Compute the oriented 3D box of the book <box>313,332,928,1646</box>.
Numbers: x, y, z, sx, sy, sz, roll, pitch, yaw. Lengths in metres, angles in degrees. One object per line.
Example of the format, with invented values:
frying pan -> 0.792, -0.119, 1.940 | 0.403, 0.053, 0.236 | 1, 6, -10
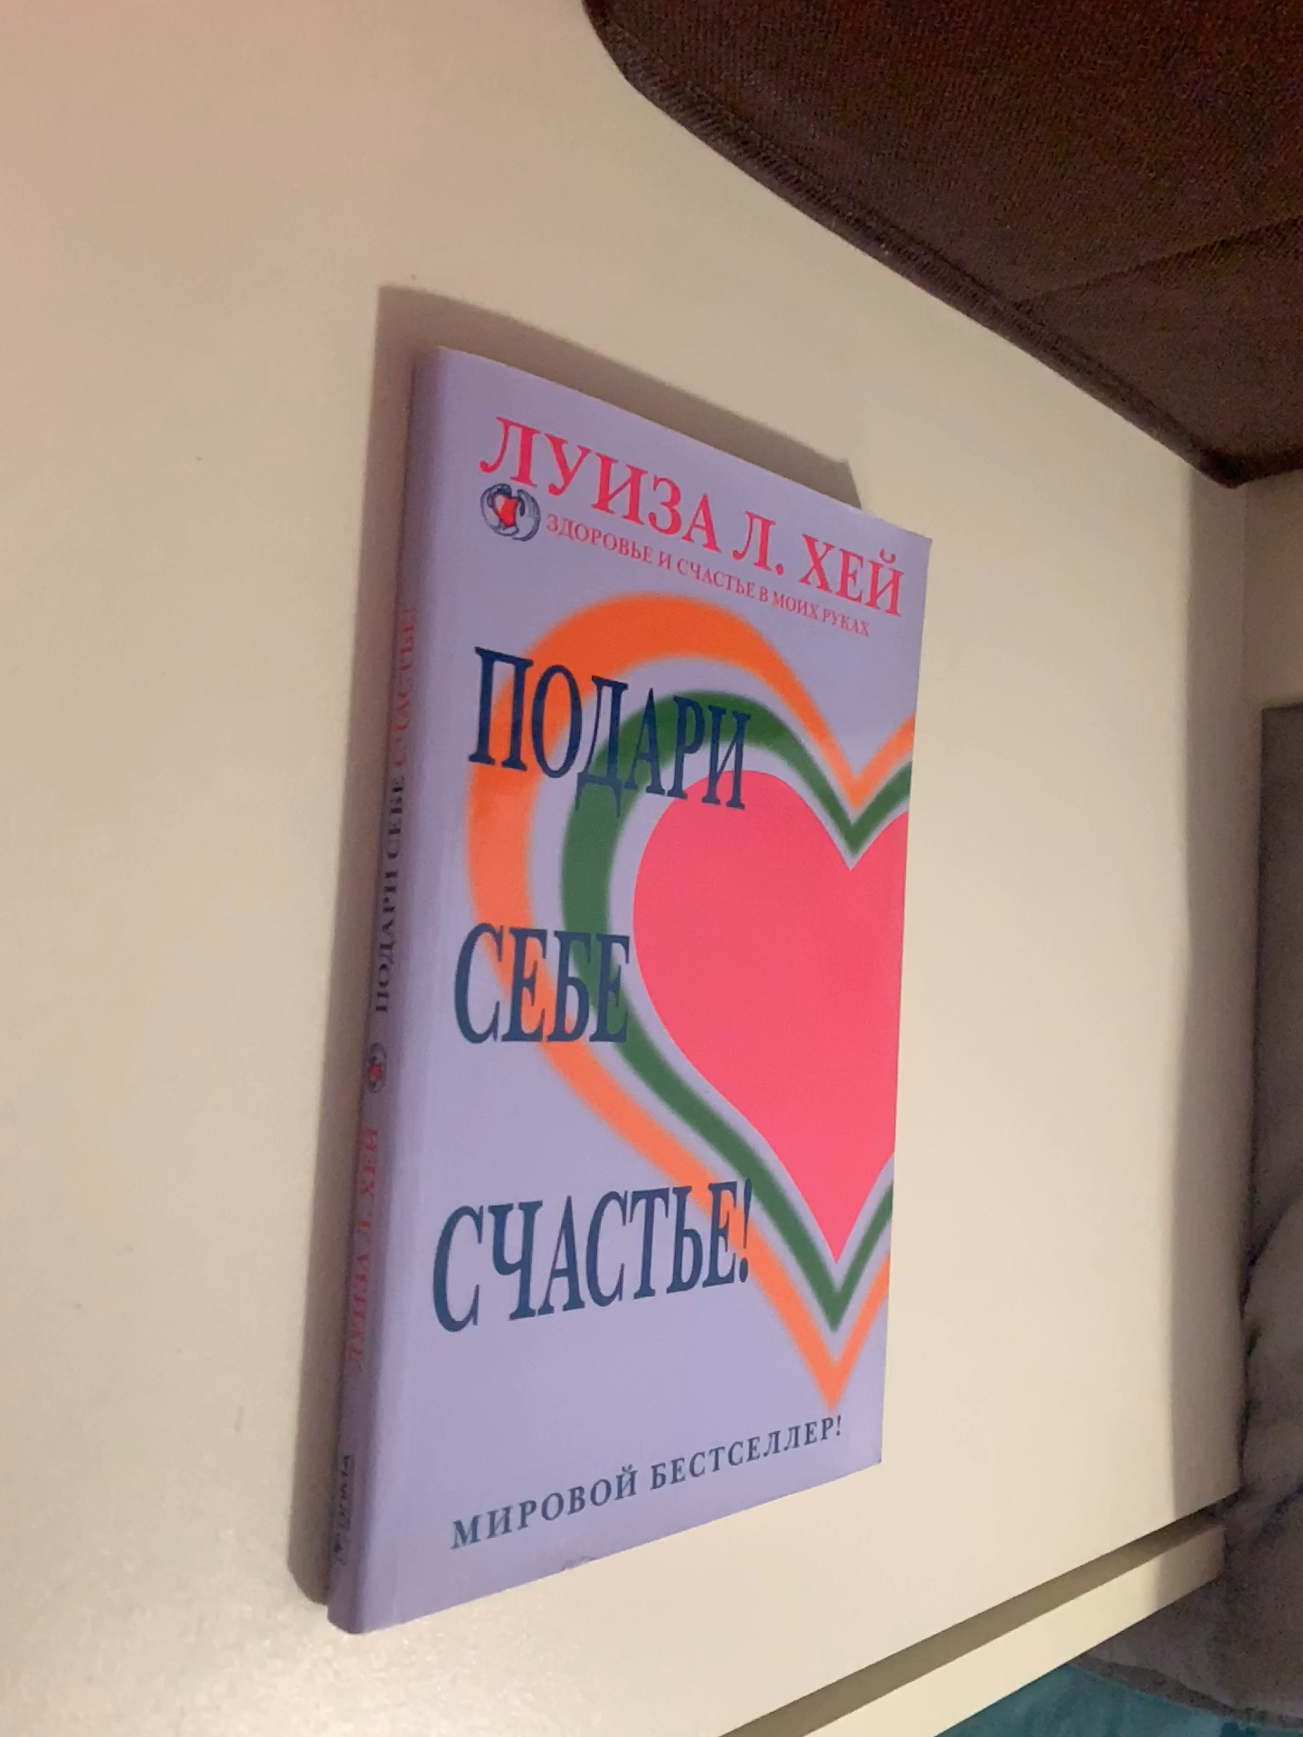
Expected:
book -> 0.004, 0.020, 0.247 | 0.124, 0.016, 0.194 | 6, 85, -43
